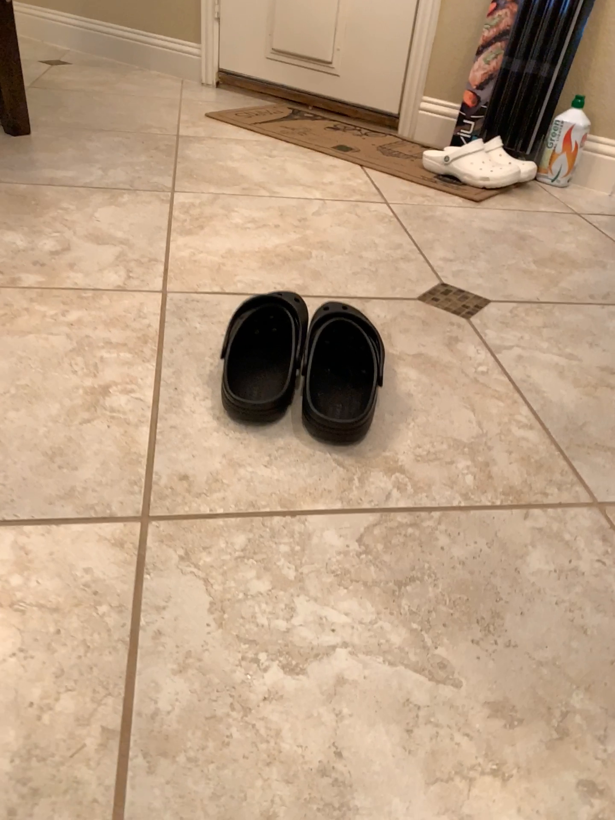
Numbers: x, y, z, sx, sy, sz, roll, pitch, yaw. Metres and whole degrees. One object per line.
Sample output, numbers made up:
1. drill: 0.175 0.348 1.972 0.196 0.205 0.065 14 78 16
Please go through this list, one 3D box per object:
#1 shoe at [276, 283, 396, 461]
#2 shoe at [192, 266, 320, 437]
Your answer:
1. shoe: 0.045 -0.063 0.825 0.113 0.085 0.279 10 35 4
2. shoe: -0.060 -0.090 0.840 0.123 0.085 0.279 8 35 1
